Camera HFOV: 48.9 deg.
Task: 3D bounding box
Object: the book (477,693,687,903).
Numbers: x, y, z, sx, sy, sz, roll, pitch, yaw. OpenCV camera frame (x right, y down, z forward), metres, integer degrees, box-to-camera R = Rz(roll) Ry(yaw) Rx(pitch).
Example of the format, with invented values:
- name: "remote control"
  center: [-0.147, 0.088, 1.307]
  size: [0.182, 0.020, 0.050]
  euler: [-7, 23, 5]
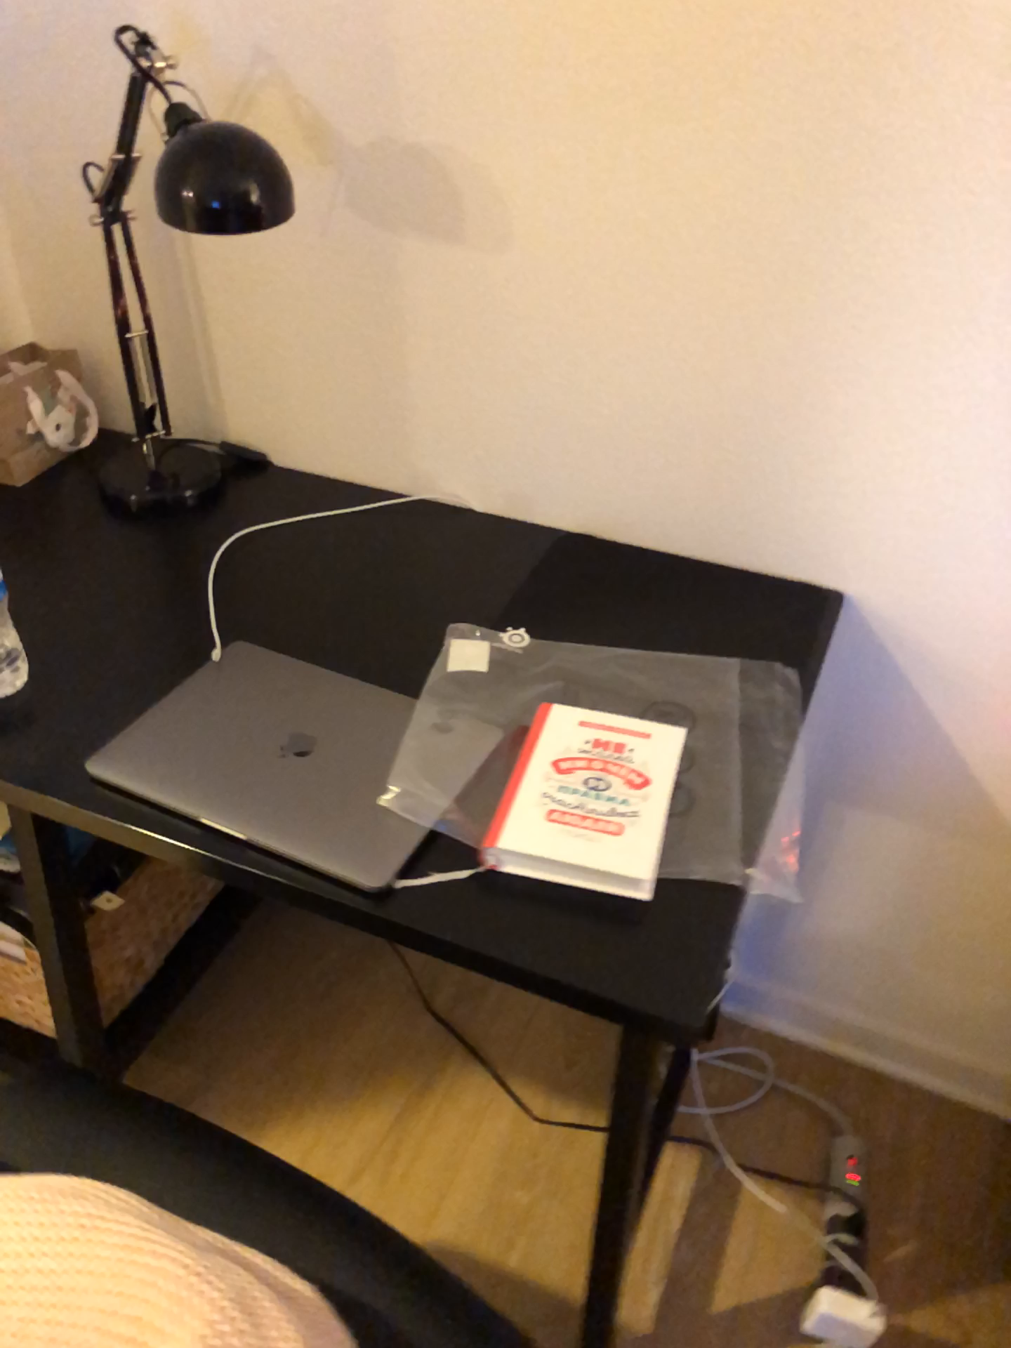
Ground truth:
- name: "book"
  center: [0.069, 0.096, 0.927]
  size: [0.140, 0.030, 0.191]
  euler: [9, 38, 10]
